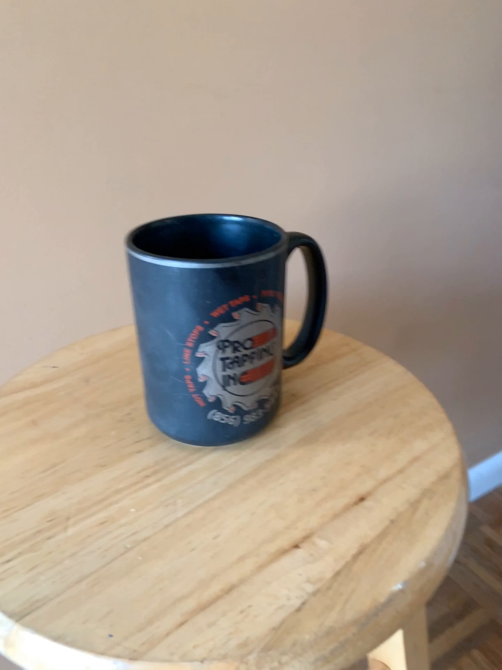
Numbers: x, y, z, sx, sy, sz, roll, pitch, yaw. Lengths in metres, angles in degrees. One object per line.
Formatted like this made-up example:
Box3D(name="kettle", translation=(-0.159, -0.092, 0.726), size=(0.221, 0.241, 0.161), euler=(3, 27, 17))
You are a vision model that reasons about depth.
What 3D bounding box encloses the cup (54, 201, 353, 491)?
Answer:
Box3D(name="cup", translation=(-0.028, -0.007, 0.335), size=(0.140, 0.119, 0.110), euler=(-19, 32, -33))
